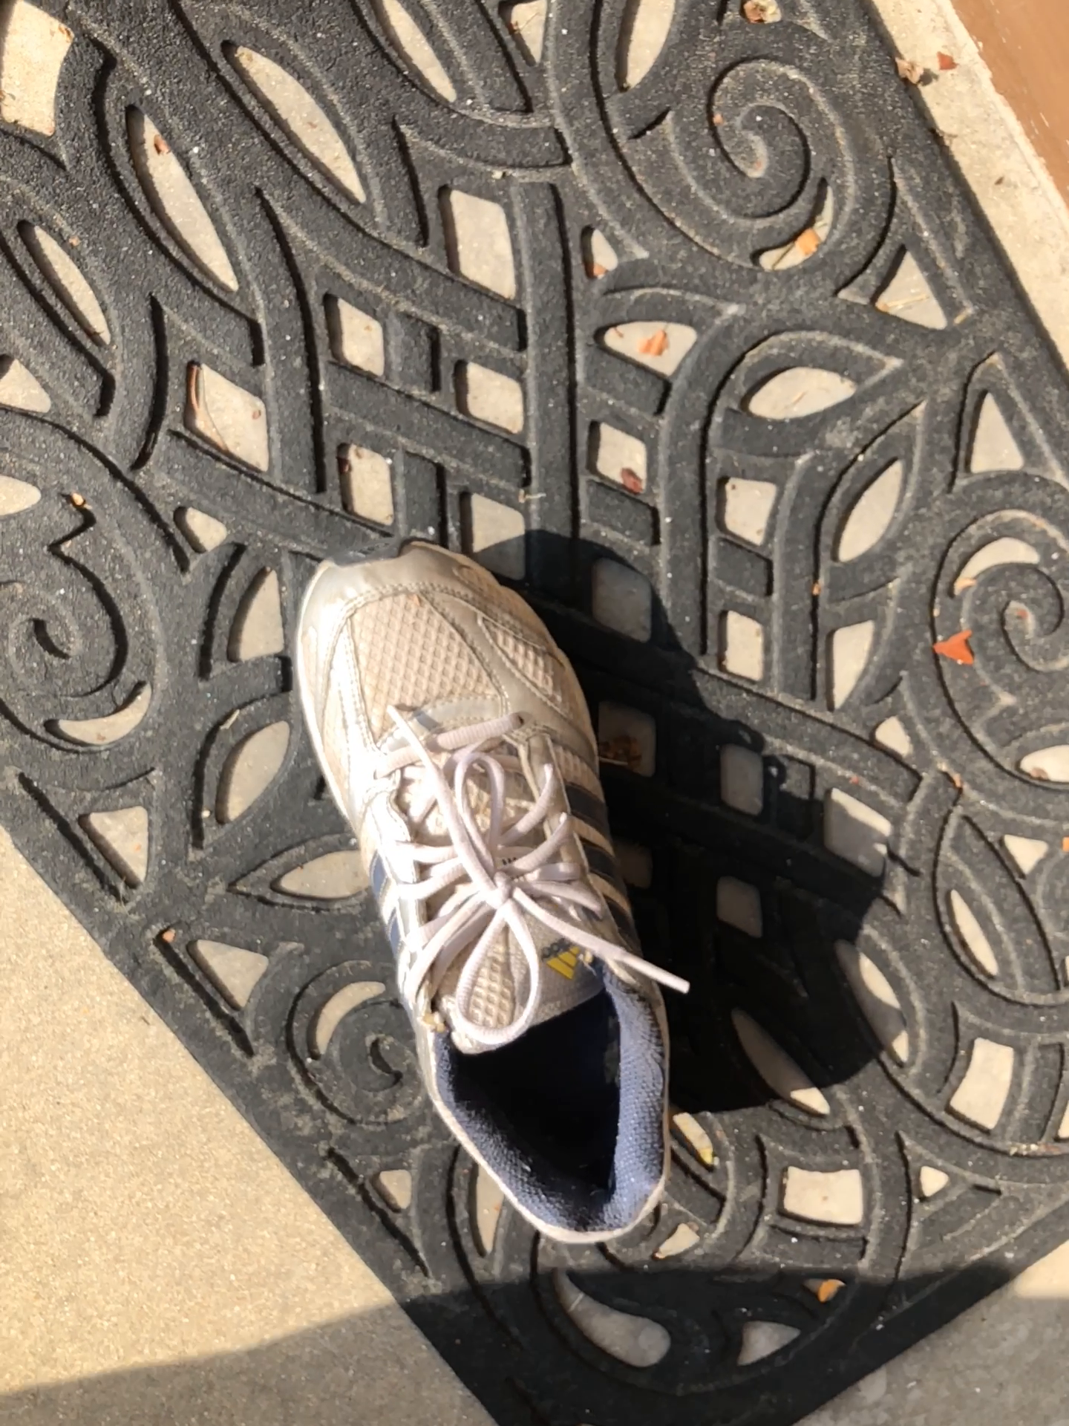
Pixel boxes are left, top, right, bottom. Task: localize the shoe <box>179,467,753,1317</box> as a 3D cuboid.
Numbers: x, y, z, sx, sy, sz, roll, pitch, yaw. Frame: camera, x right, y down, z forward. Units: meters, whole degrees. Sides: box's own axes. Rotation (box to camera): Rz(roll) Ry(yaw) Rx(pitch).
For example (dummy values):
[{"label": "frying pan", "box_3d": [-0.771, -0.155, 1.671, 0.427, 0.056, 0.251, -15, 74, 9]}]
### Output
[{"label": "shoe", "box_3d": [-0.021, 0.054, 0.442, 0.110, 0.130, 0.261, -17, 101, -2]}]
